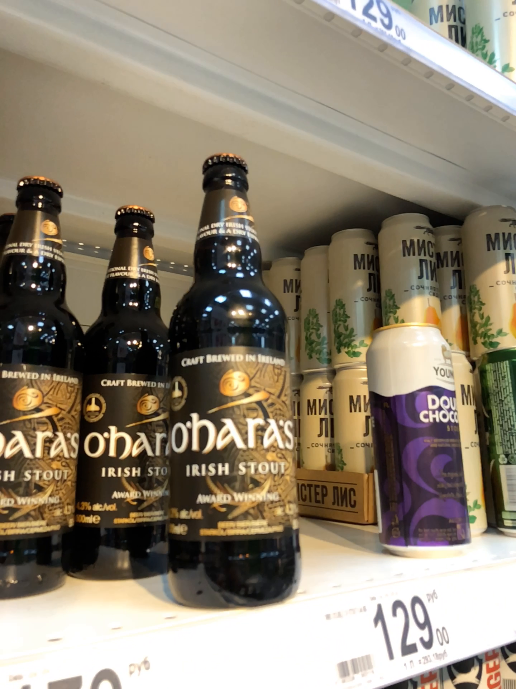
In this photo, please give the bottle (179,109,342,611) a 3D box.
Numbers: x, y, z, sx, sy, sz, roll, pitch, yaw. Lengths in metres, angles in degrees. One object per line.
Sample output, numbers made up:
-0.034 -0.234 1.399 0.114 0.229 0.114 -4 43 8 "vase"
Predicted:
-0.002 0.004 0.308 0.070 0.241 0.070 0 -11 0 "bottle"
